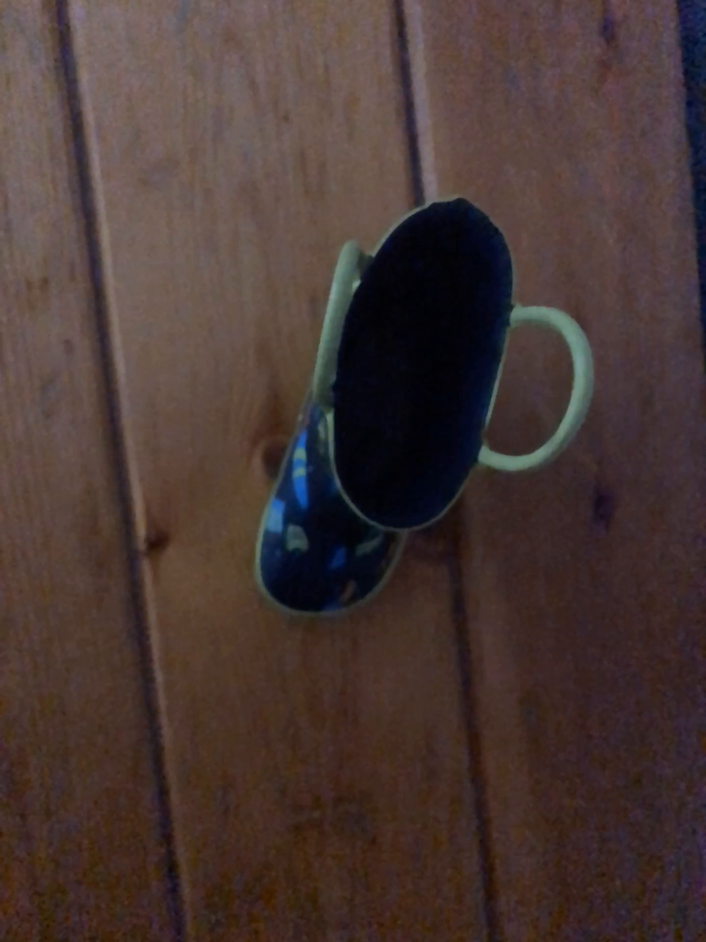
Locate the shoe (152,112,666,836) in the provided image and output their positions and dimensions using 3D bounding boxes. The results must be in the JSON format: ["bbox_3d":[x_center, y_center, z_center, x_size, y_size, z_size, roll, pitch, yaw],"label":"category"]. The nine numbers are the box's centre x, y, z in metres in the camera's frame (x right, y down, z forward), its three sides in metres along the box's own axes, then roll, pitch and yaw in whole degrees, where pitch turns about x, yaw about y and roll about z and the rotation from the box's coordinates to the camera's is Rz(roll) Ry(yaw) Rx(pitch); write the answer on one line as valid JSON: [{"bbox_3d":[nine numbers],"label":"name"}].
[{"bbox_3d":[0.008,-0.001,0.304,0.080,0.200,0.170,20,91,-5],"label":"shoe"}]
